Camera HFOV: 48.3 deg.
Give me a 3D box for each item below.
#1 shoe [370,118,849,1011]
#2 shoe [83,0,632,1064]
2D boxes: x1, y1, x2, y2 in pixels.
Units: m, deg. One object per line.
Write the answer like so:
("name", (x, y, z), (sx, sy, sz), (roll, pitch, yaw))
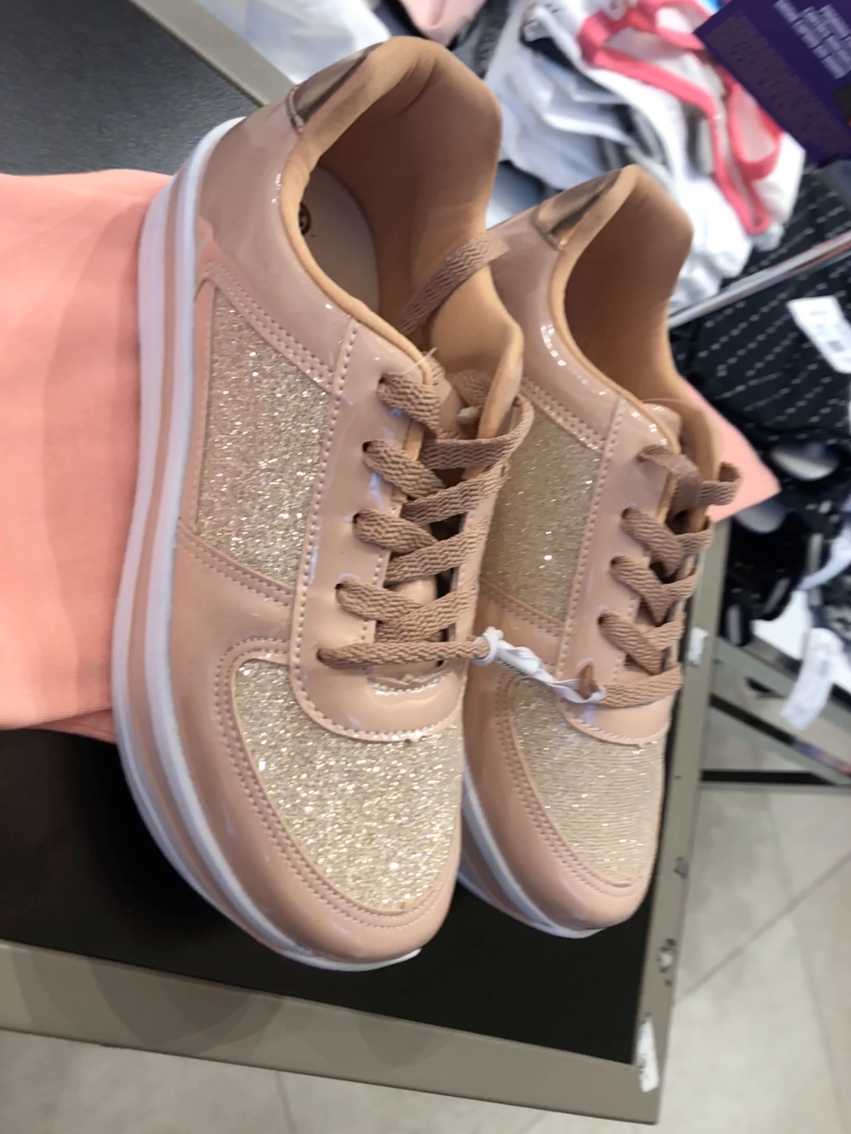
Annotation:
("shoe", (0.051, 0.000, 0.293), (0.091, 0.089, 0.220), (3, 80, -38))
("shoe", (-0.025, -0.014, 0.246), (0.091, 0.099, 0.220), (3, 80, -38))
